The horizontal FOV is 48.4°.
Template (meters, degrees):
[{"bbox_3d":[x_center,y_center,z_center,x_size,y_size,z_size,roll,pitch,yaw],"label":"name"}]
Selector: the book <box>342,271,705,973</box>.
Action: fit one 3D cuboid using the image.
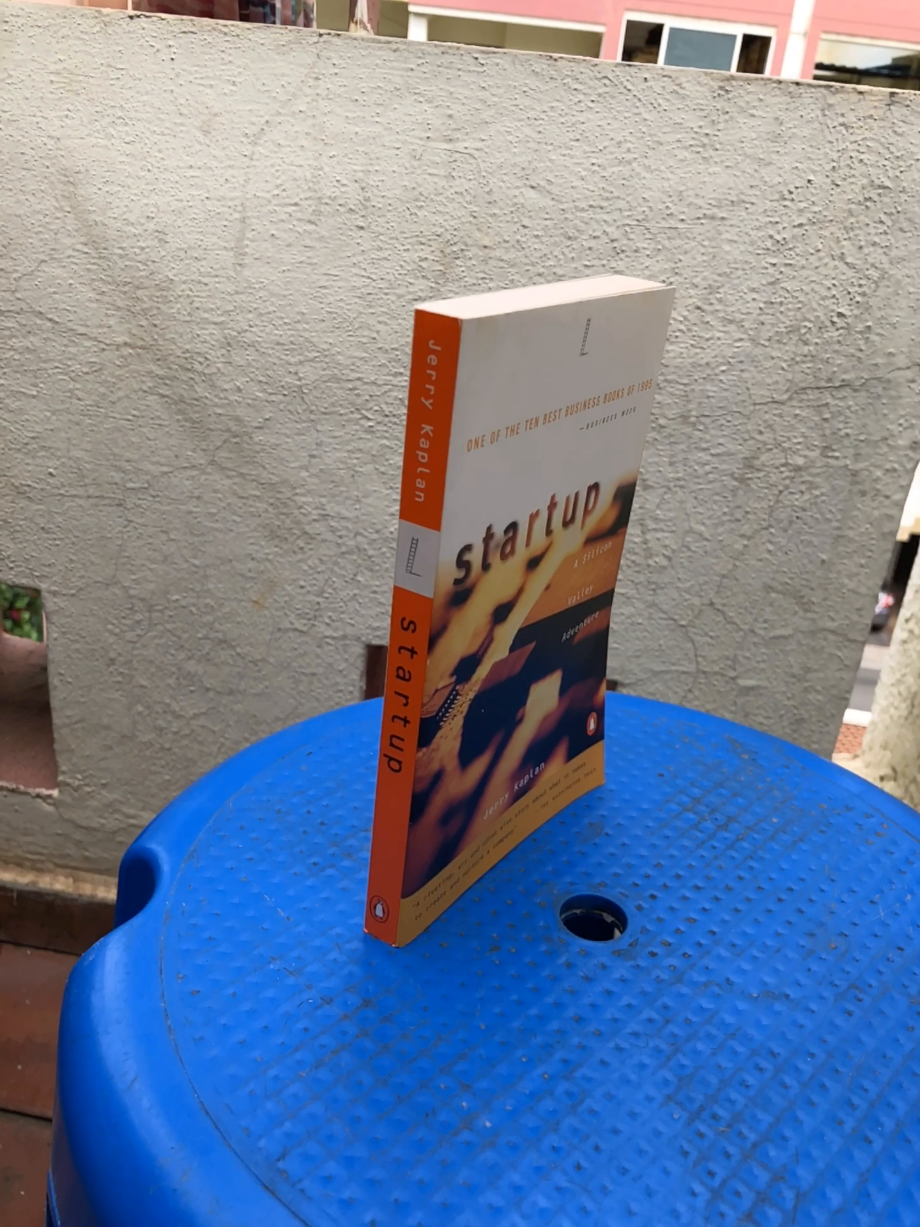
[{"bbox_3d":[0.022,-0.004,0.339,0.030,0.199,0.140,20,28,27],"label":"book"}]
